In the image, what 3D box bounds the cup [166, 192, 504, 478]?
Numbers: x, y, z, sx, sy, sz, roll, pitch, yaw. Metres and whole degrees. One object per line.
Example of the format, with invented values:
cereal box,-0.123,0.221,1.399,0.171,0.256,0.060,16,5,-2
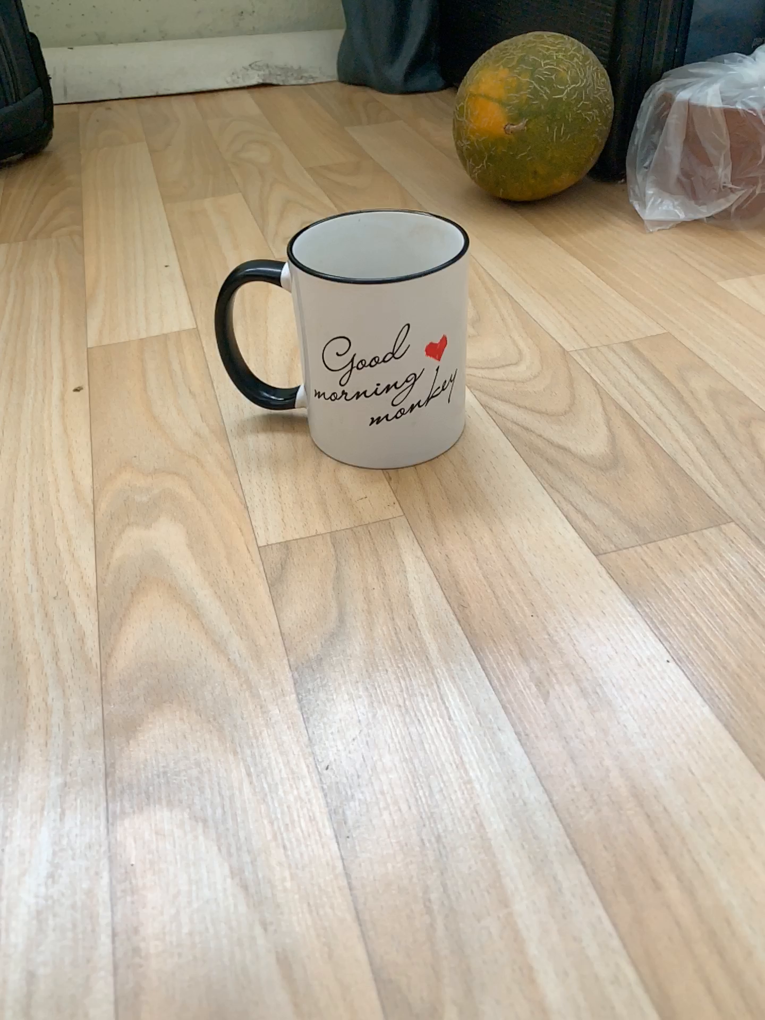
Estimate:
cup,-0.018,-0.081,0.365,0.130,0.100,0.080,-2,40,0
